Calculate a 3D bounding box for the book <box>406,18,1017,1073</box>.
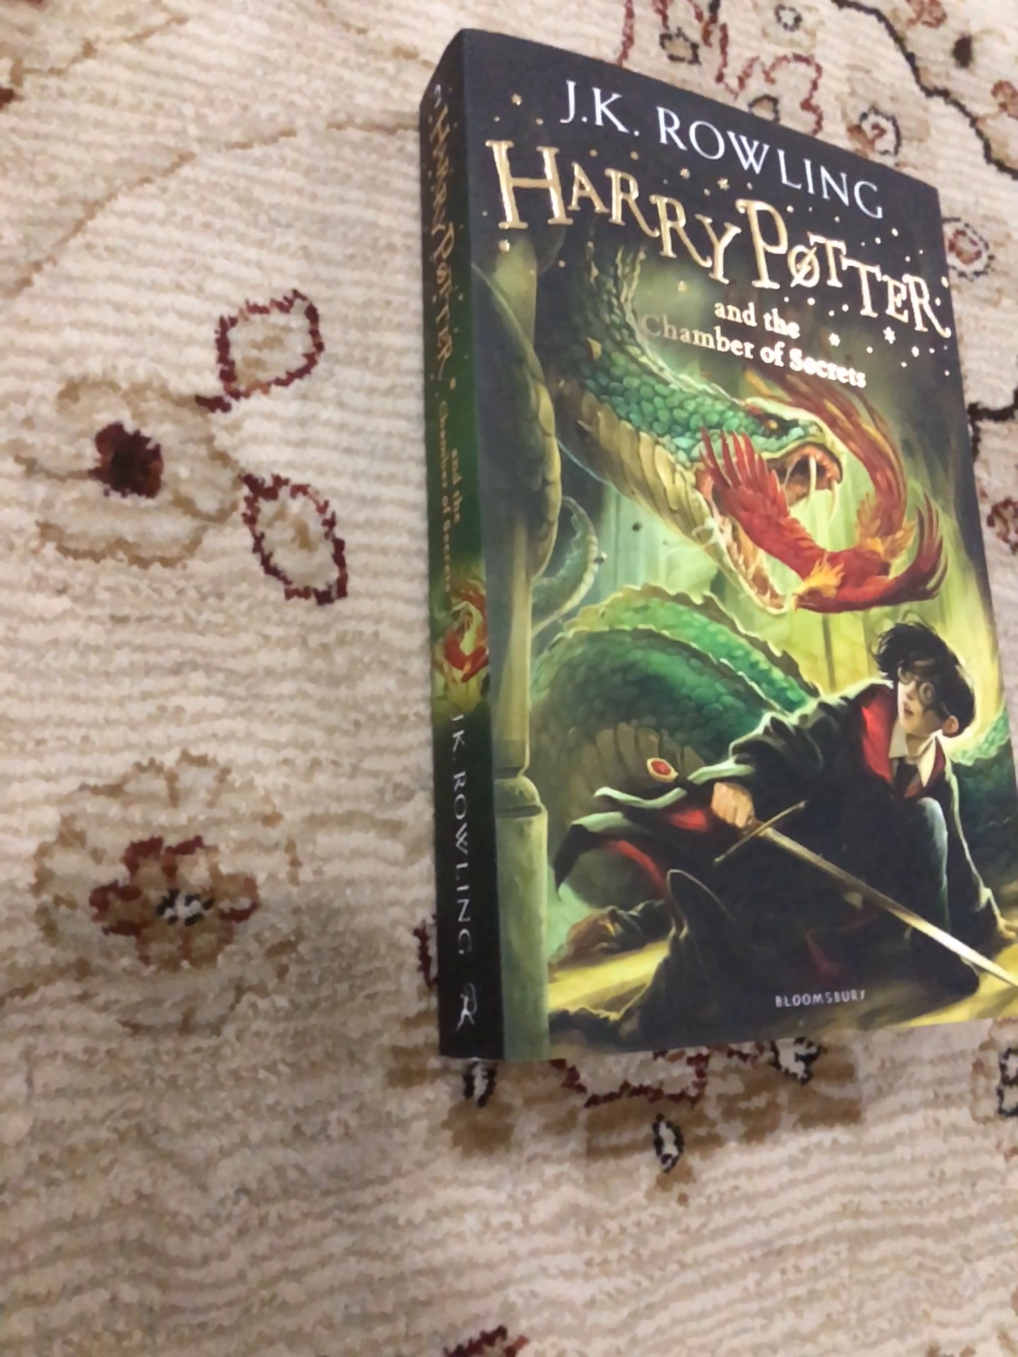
[{"bbox_3d":[0.047,-0.027,0.242,0.131,0.030,0.200,4,74,-25],"label":"book"}]
